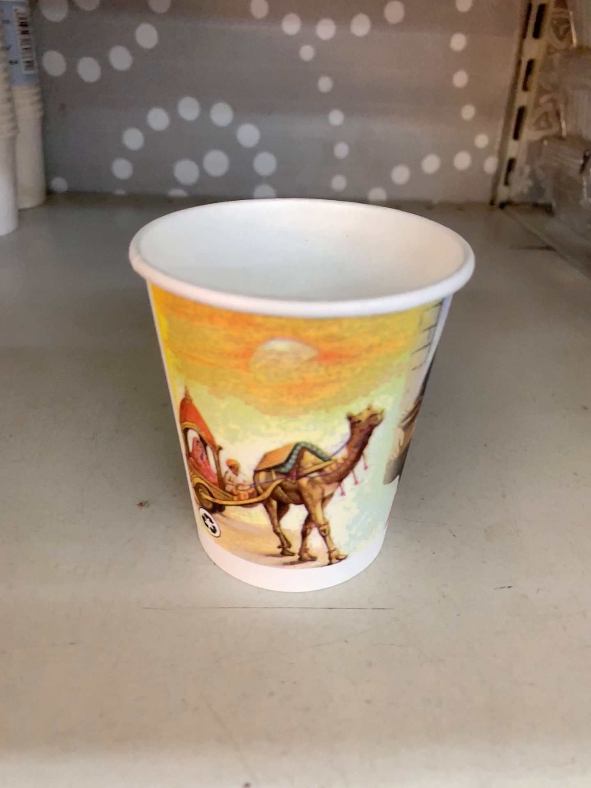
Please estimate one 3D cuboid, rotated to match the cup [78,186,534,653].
[{"bbox_3d":[-0.003,0.001,0.144,0.070,0.079,0.071,2,30,-1],"label":"cup"}]
